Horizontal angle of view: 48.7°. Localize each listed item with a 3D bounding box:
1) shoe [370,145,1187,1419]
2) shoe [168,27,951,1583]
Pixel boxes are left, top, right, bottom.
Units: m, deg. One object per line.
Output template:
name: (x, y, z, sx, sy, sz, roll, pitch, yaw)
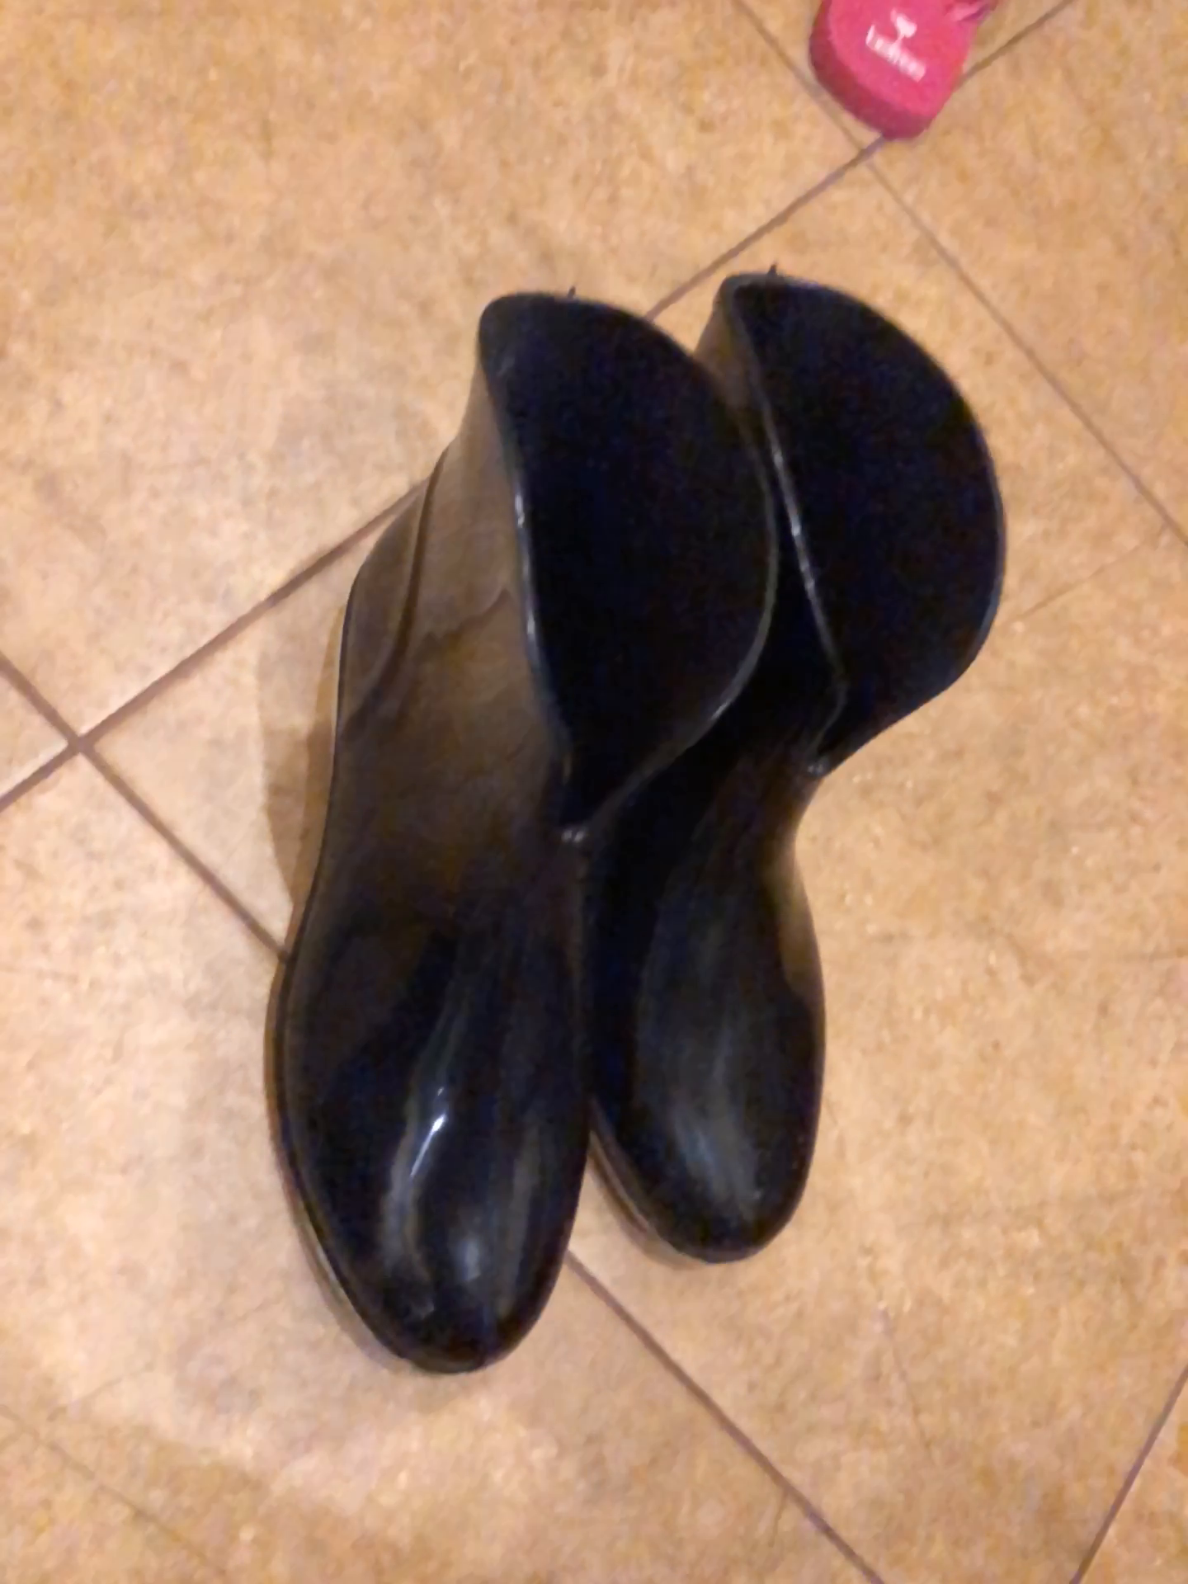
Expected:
shoe: (0.034, 0.008, 0.402, 0.110, 0.229, 0.280, -6, 78, -25)
shoe: (-0.043, 0.014, 0.350, 0.110, 0.229, 0.280, 1, 75, -23)
